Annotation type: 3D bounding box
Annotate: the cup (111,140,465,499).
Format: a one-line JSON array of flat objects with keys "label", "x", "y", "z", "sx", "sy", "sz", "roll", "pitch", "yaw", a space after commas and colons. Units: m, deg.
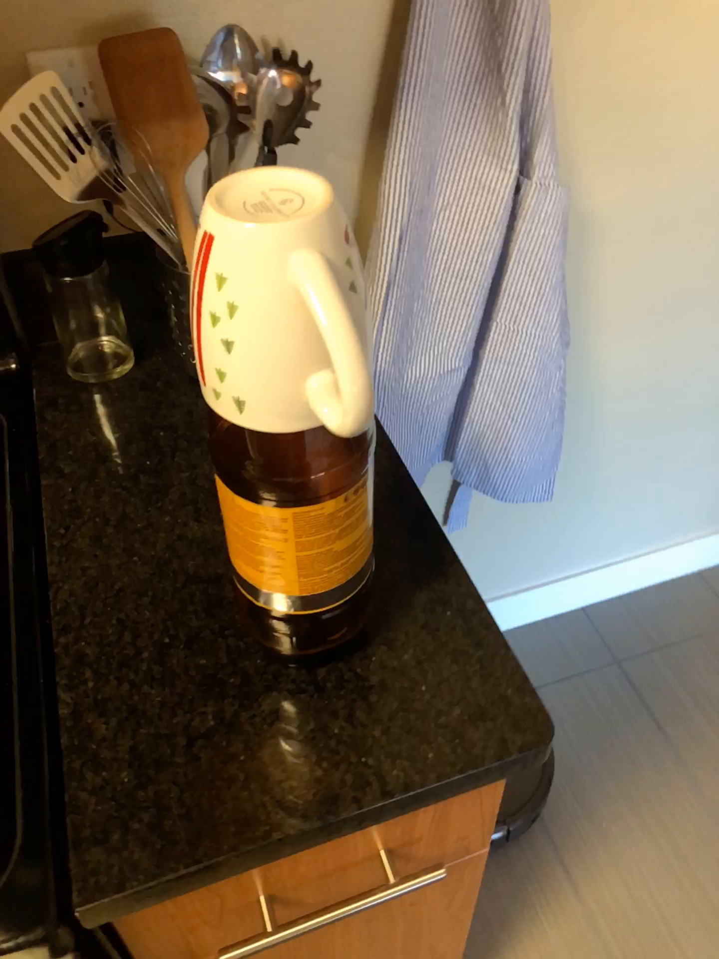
[{"label": "cup", "x": -0.037, "y": -0.088, "z": 0.409, "sx": 0.100, "sy": 0.109, "sz": 0.140, "roll": -31, "pitch": 50, "yaw": -30}]
